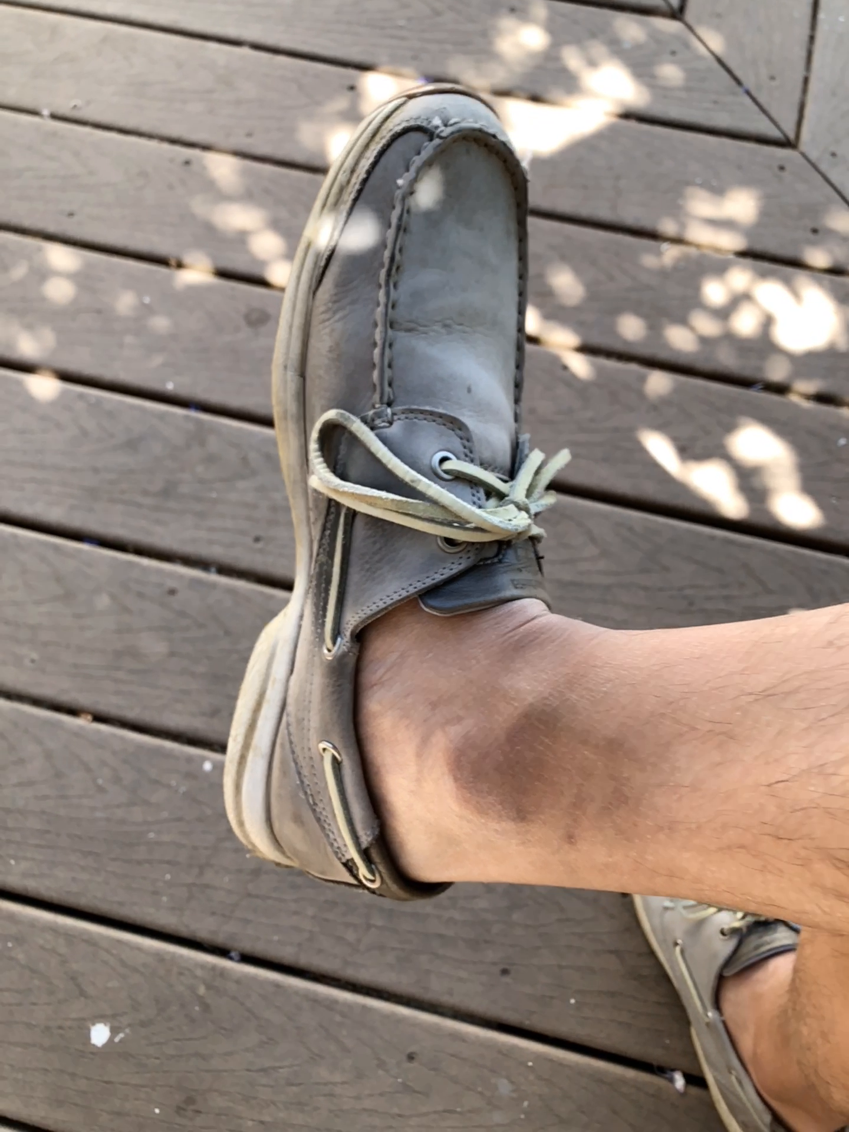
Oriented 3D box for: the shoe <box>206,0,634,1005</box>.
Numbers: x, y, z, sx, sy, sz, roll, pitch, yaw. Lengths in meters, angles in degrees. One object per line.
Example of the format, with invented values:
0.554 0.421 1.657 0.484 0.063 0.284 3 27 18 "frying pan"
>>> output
0.001 -0.022 0.371 0.083 0.116 0.326 8 94 39 "shoe"
